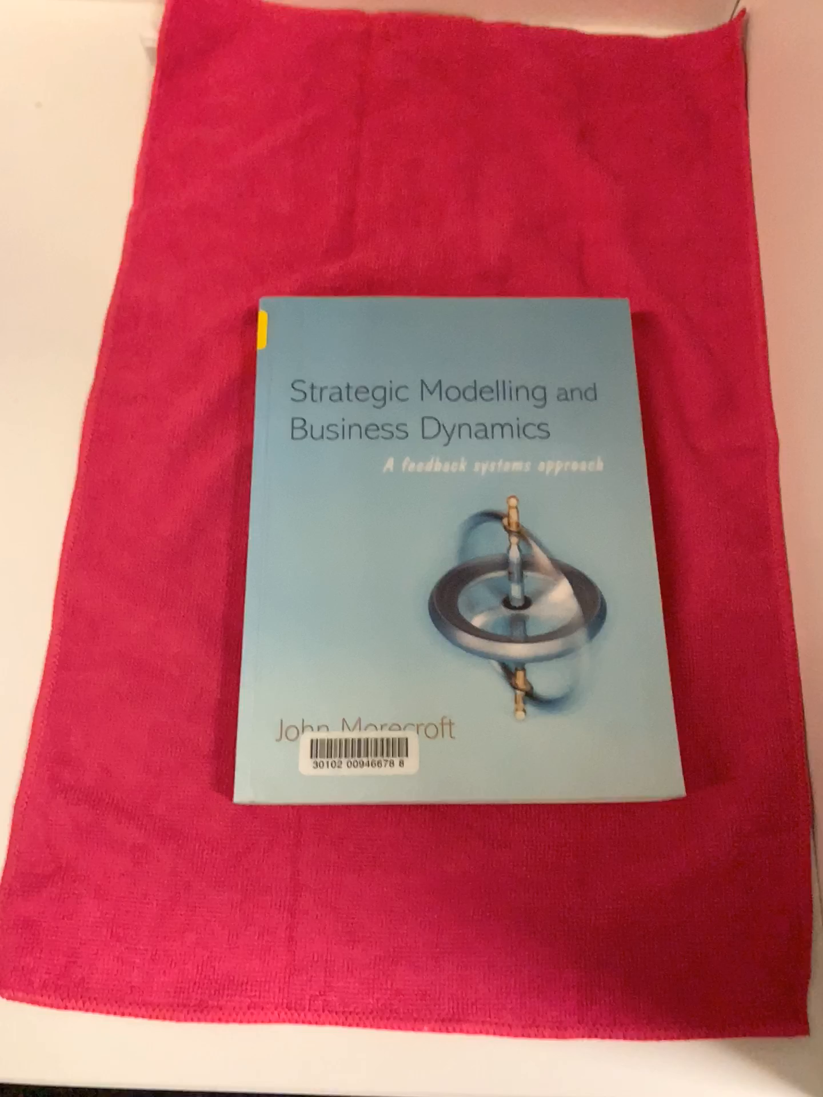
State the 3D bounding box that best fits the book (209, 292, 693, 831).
[{"bbox_3d":[0.014,-0.003,0.393,0.193,0.033,0.251,0,71,-2],"label":"book"}]
